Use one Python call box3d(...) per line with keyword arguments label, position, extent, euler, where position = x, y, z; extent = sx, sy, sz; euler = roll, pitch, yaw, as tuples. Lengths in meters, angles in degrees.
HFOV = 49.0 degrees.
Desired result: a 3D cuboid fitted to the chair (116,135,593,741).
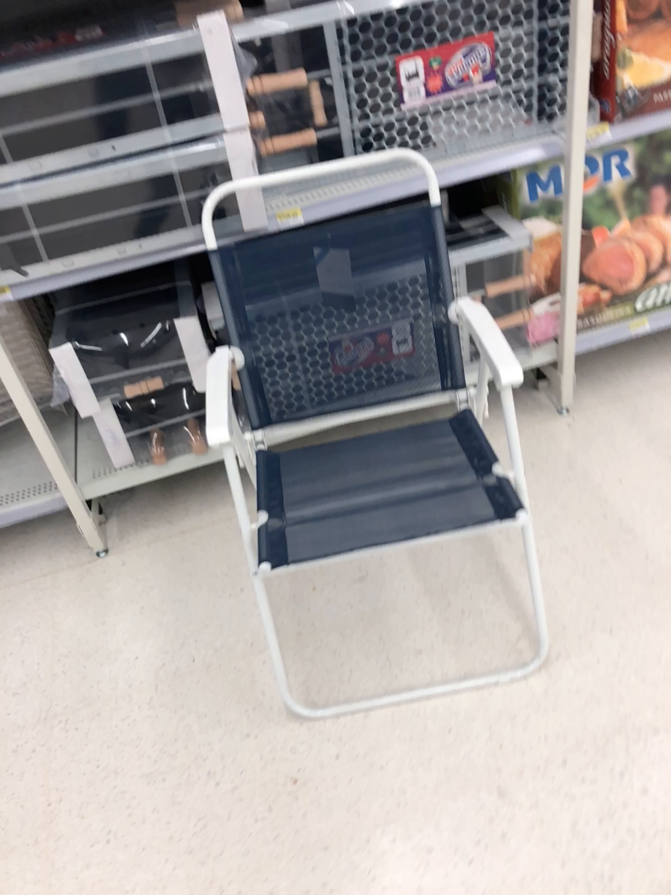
box3d(label="chair", position=(0.038, -0.027, 1.300), extent=(0.540, 0.734, 0.655), euler=(-12, 39, 0))
